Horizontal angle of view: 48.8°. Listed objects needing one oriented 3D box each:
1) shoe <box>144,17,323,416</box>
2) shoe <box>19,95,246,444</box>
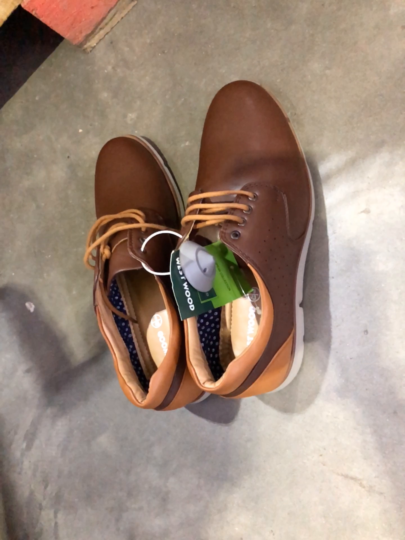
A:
[{"bbox_3d":[0.035,-0.039,0.426,0.120,0.130,0.310,-3,83,28],"label":"shoe"},{"bbox_3d":[-0.070,0.001,0.436,0.110,0.120,0.280,-23,74,25],"label":"shoe"}]
